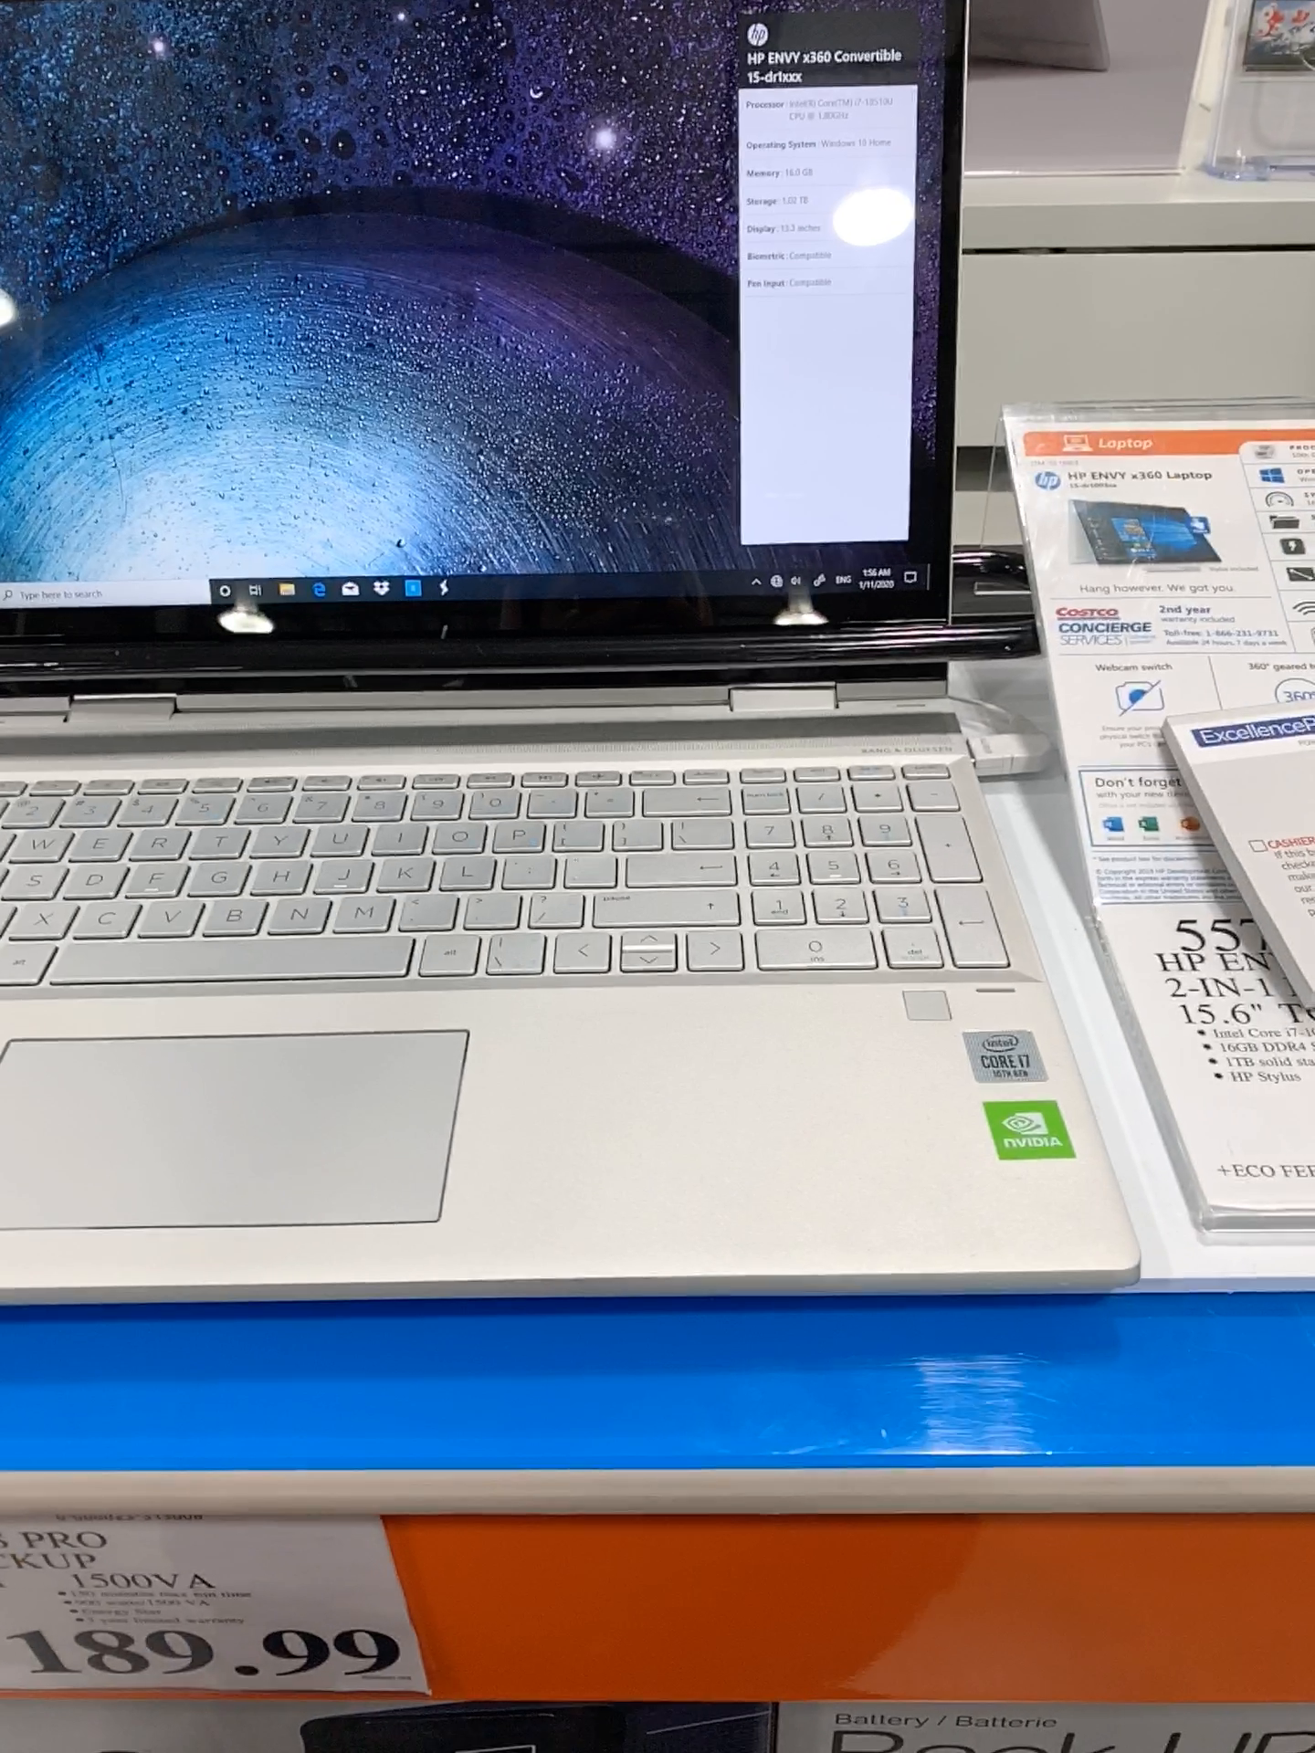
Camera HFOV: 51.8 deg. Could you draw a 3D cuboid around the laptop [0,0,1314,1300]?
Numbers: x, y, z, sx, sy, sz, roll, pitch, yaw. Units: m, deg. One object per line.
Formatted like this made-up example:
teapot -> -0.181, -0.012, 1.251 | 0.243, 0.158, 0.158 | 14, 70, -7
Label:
laptop -> -0.075, -0.101, 0.356 | 0.346, 0.209, 0.341 | -1, 38, 0
